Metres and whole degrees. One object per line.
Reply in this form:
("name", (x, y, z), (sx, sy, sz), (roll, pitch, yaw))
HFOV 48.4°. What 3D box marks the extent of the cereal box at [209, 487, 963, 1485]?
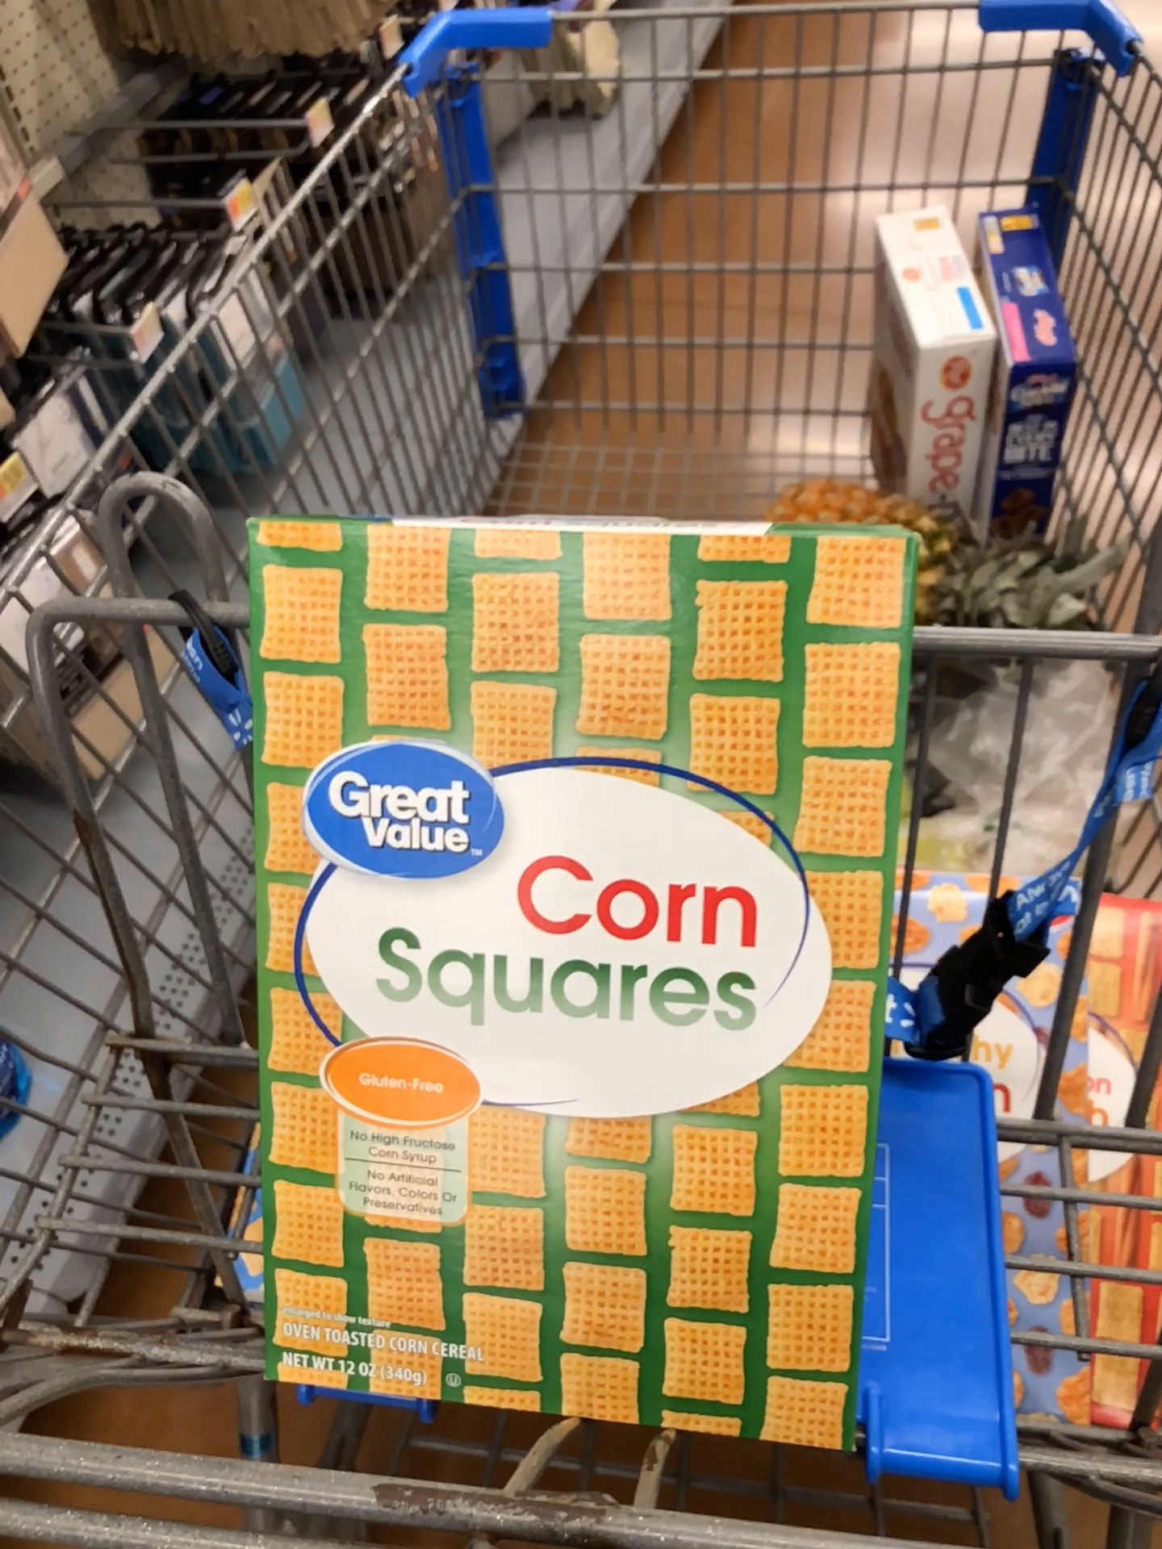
("cereal box", (0.000, 0.057, 0.397), (0.200, 0.280, 0.070), (2, 10, 8))
